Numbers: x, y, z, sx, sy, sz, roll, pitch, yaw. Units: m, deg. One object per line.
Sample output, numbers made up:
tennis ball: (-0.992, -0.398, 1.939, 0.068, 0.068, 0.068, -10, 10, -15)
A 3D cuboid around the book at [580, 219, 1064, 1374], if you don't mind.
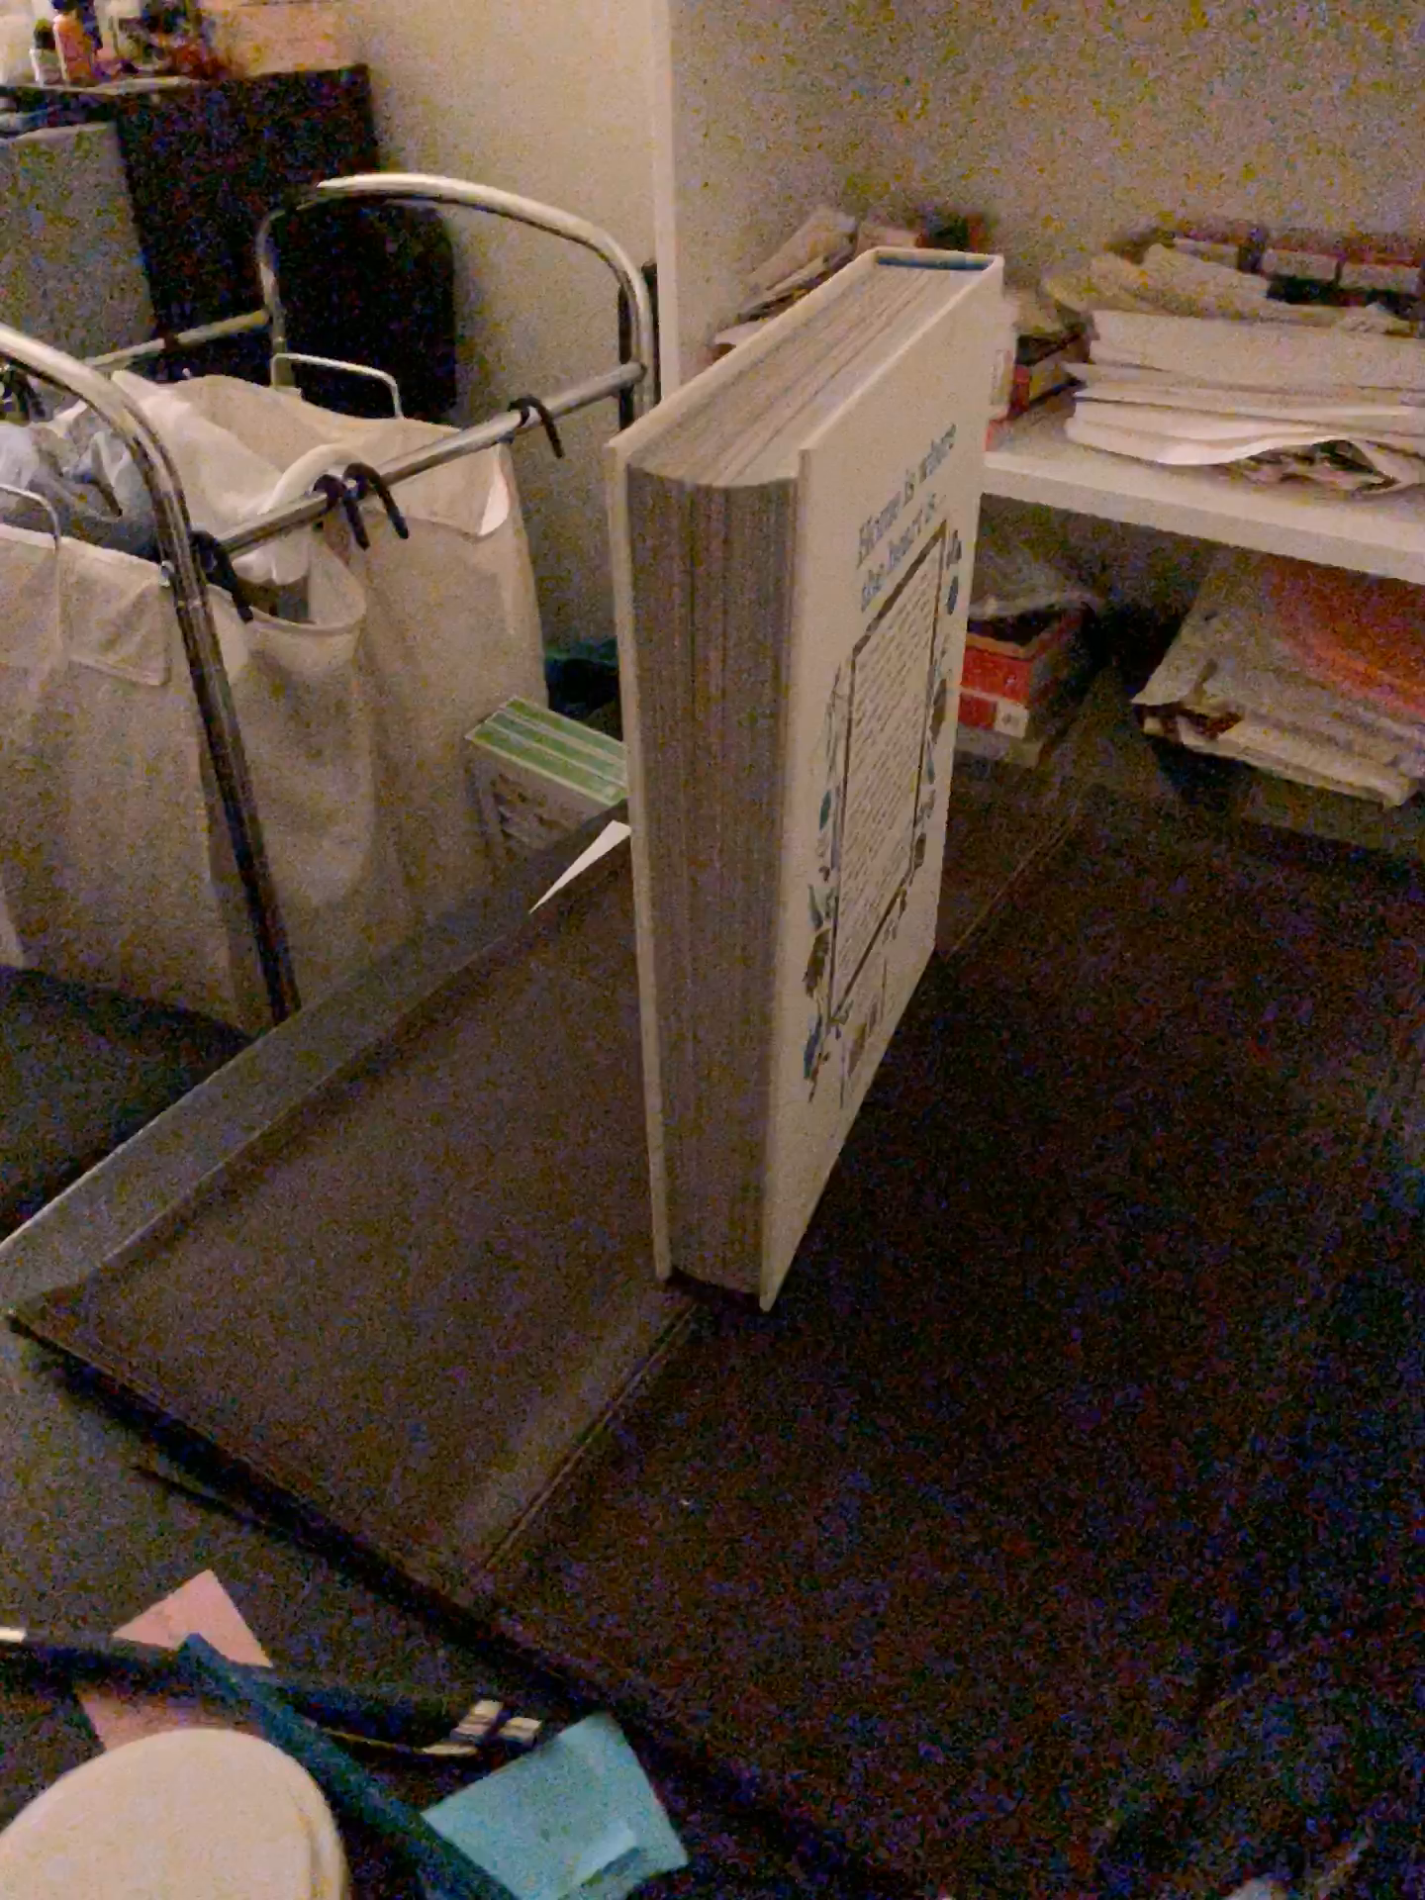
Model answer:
book: (0.039, -0.049, 0.433, 0.050, 0.268, 0.211, 13, 38, 19)
